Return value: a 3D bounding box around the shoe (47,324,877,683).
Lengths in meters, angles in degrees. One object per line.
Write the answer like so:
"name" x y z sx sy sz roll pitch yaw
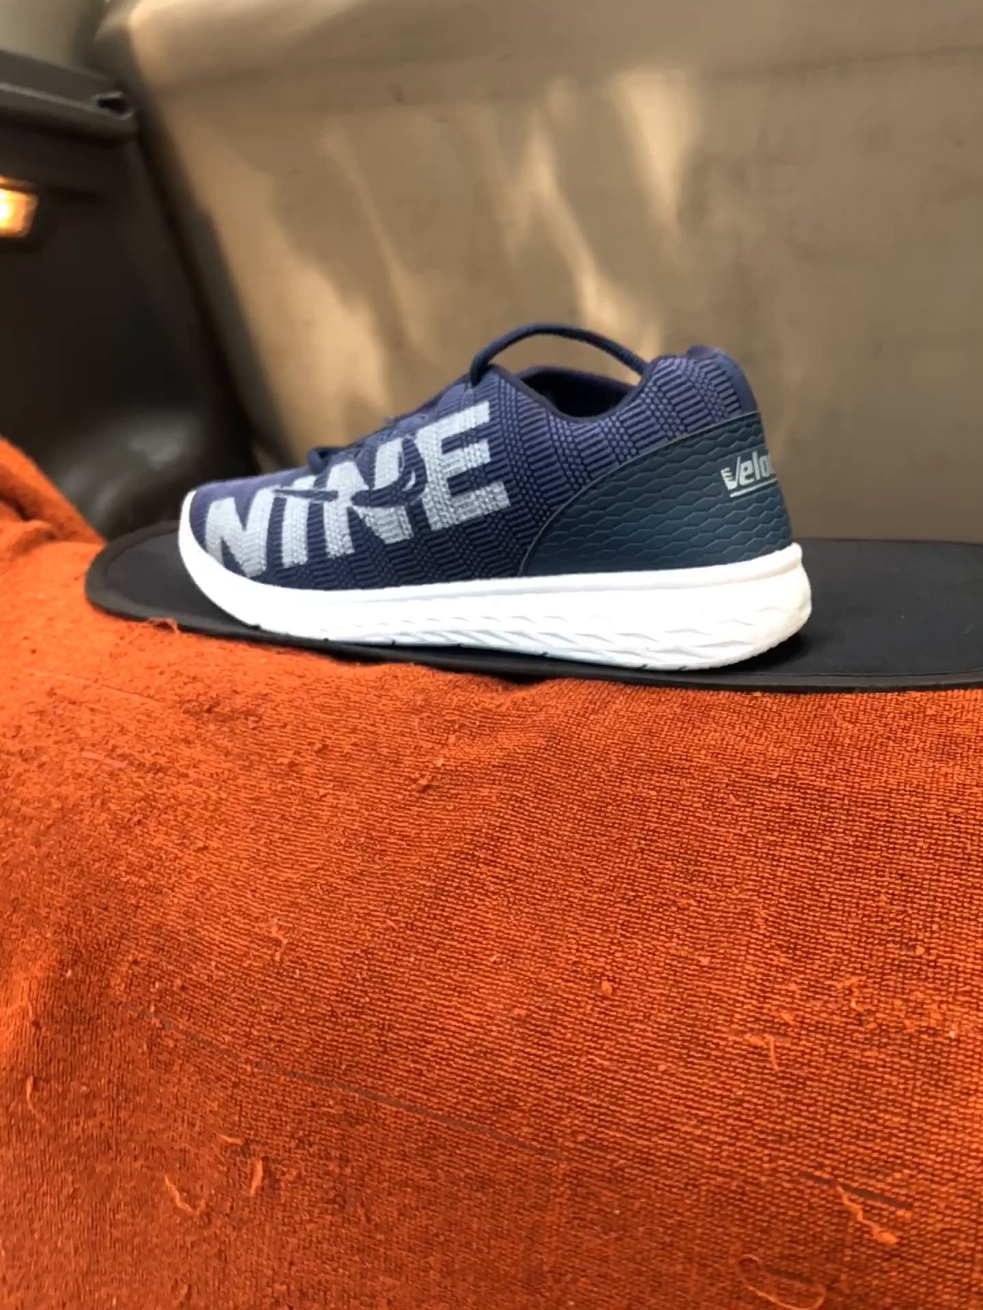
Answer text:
"shoe" -0.014 -0.068 0.428 0.290 0.100 0.131 5 17 29
